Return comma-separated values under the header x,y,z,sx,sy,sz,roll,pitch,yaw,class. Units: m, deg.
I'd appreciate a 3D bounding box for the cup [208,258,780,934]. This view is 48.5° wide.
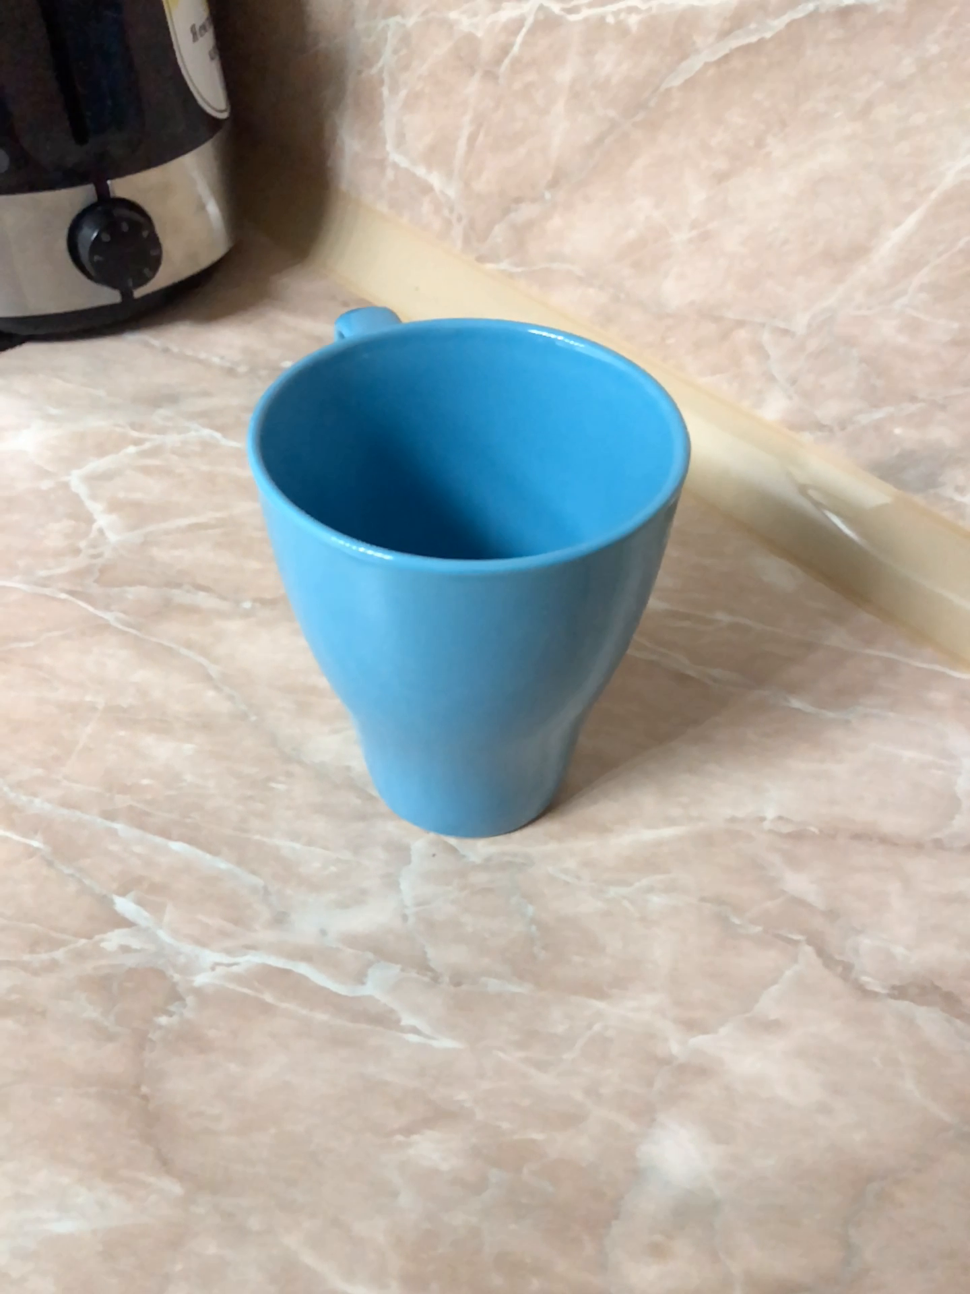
x,y,z,sx,sy,sz,roll,pitch,yaw,class
-0.006,-0.017,0.245,0.086,0.089,0.111,-11,45,-12,cup
